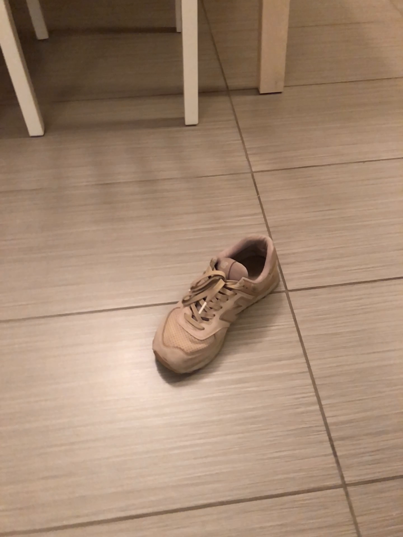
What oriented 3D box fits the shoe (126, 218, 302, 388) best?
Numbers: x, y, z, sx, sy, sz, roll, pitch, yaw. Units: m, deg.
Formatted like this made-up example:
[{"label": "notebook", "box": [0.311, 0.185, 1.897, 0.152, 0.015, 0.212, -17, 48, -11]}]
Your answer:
[{"label": "shoe", "box": [0.025, 0.046, 0.696, 0.271, 0.090, 0.100, -37, 61, -24]}]
